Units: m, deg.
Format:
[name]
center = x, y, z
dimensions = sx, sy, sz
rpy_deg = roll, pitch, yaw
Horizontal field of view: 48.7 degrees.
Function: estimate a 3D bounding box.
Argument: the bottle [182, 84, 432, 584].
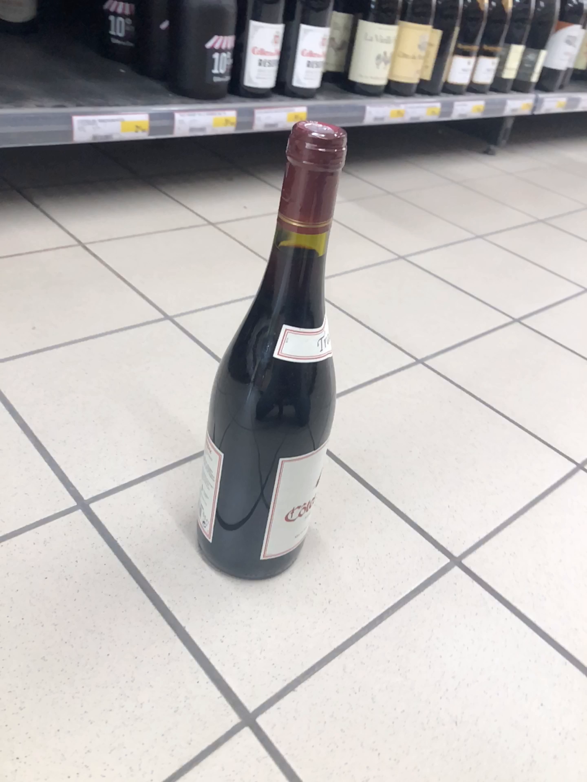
[bottle]
center = -0.011, -0.014, 0.392
dimensions = 0.090, 0.288, 0.090
rpy_deg = 8, 34, -5
